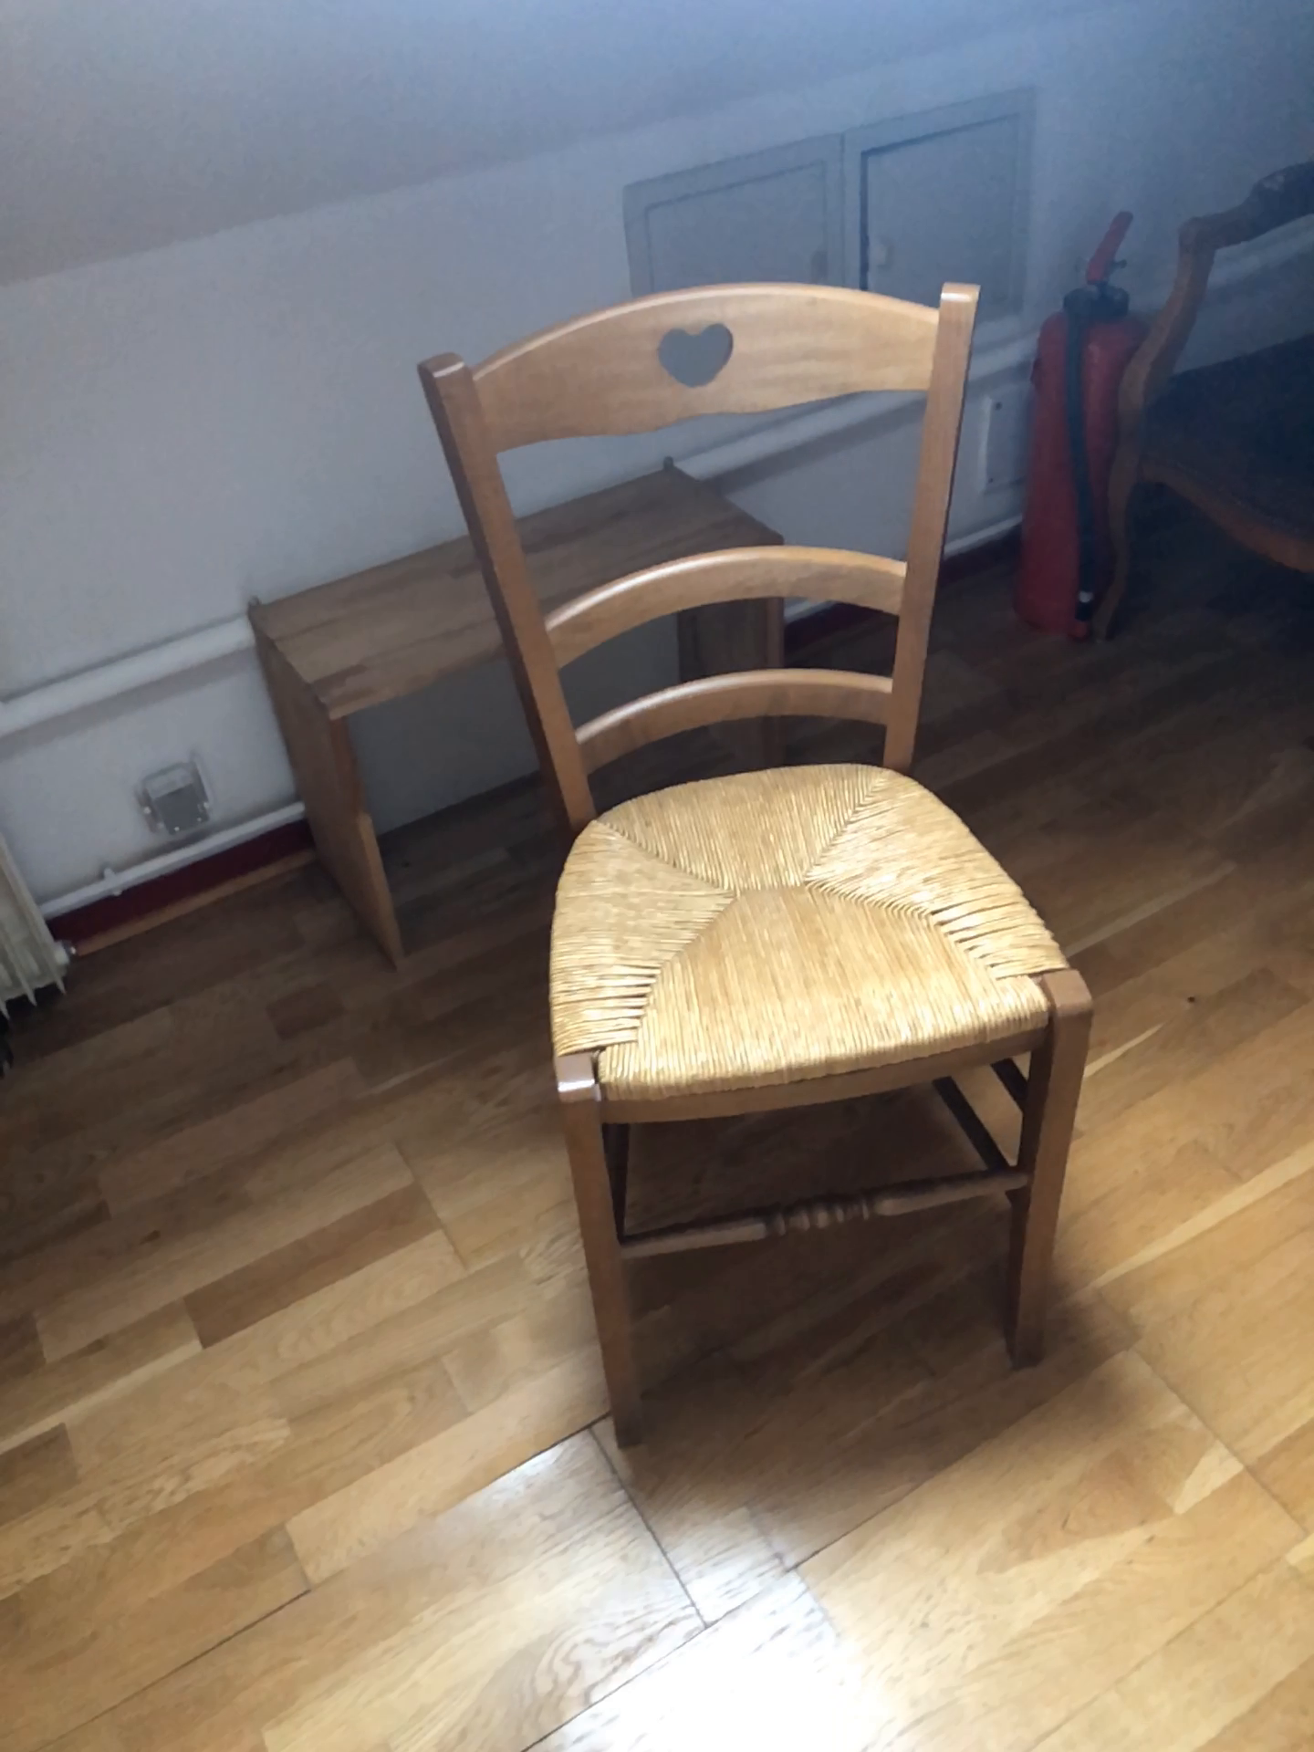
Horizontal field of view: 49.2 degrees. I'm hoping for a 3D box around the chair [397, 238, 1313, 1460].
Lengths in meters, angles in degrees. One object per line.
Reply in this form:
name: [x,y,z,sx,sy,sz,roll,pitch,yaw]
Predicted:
chair: [0.107,0.006,1.126,0.458,0.793,0.435,-10,40,-5]
